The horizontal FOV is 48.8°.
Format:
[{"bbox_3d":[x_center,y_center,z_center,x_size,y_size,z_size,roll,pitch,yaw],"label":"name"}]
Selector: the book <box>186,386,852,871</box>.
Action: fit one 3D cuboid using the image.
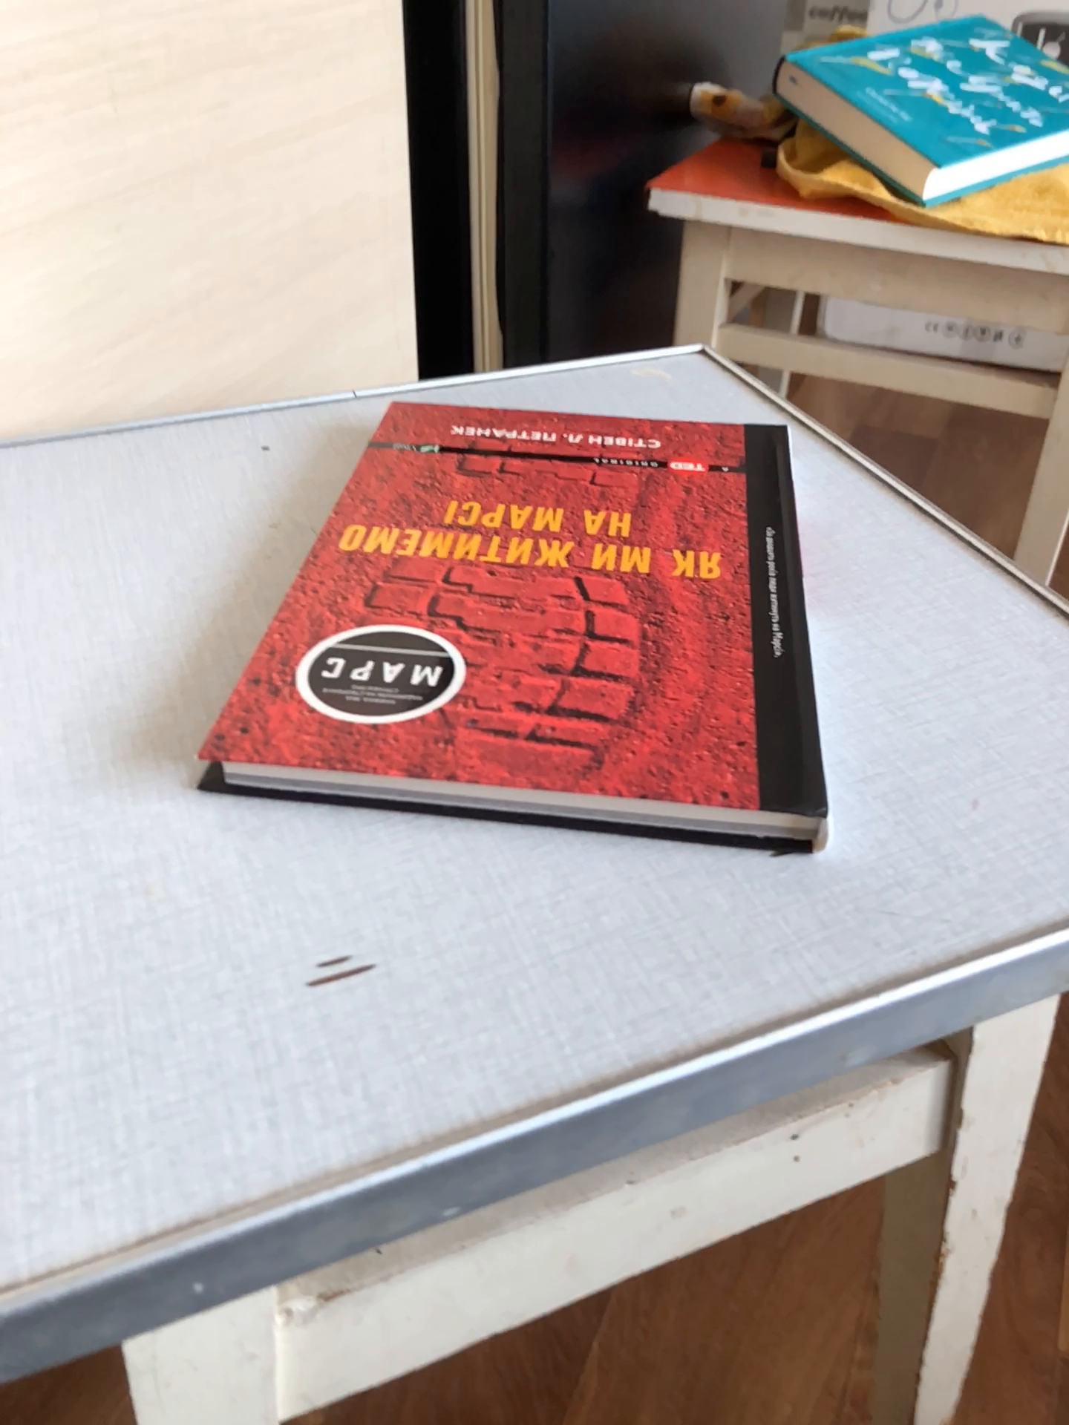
[{"bbox_3d":[0.008,-0.042,0.351,0.150,0.020,0.210,6,38,5],"label":"book"}]
